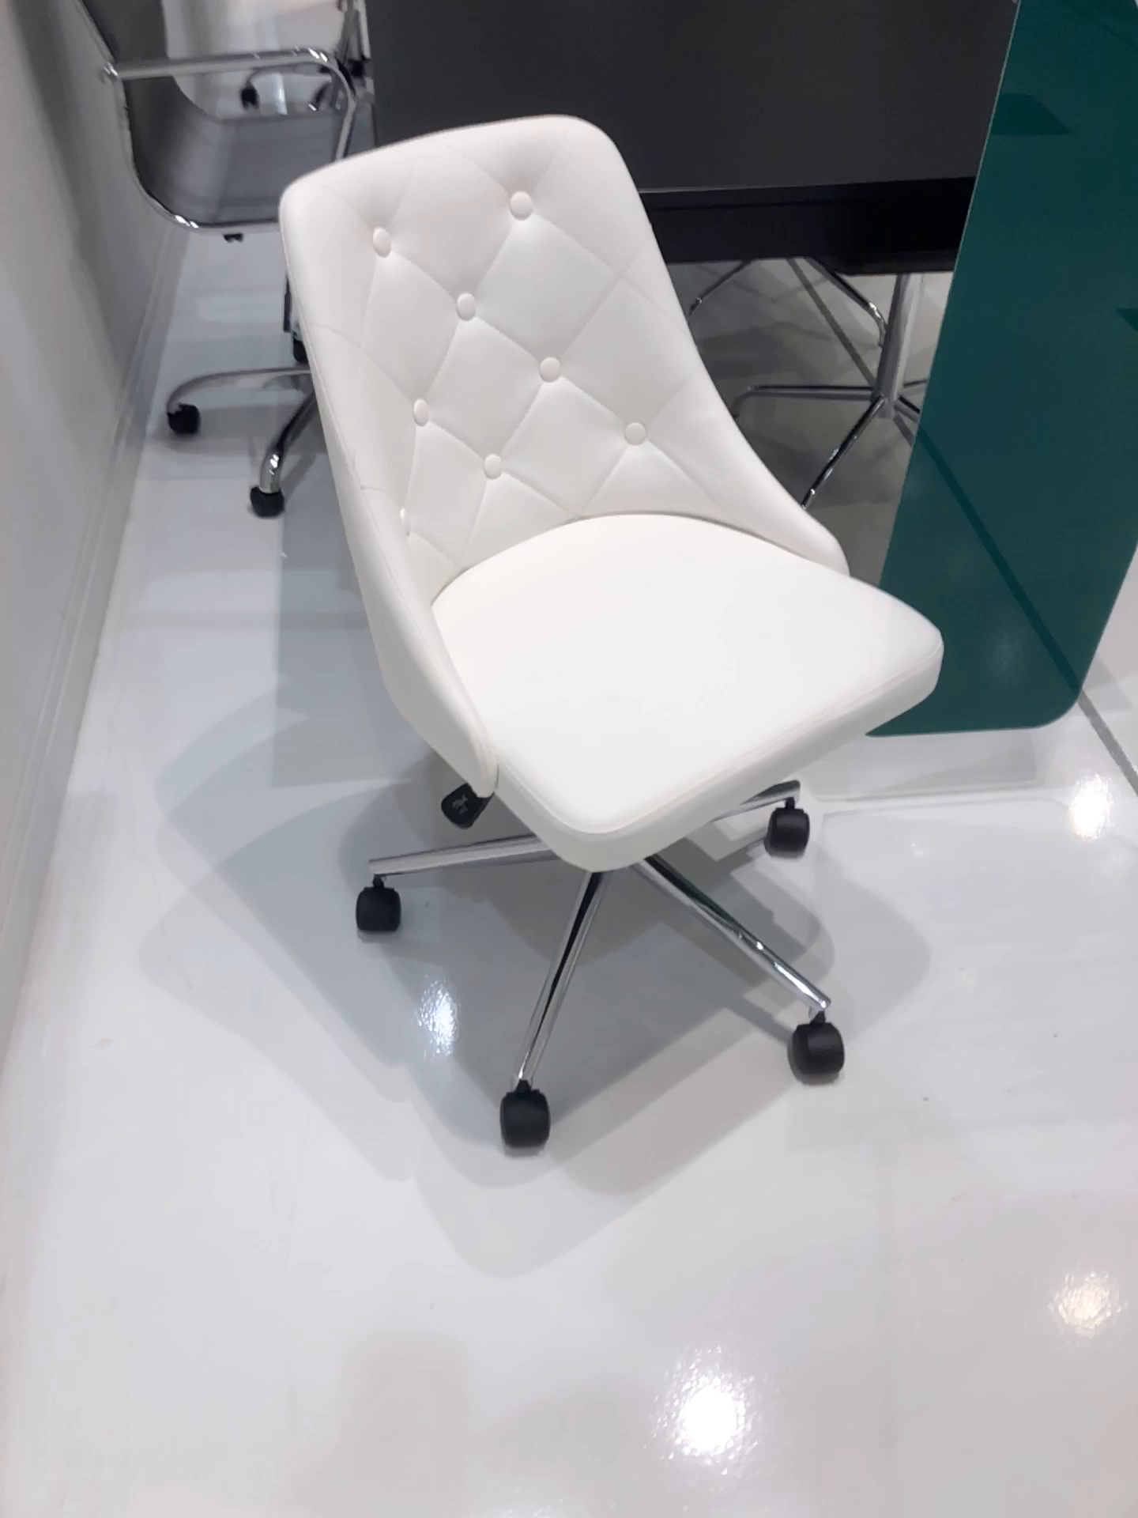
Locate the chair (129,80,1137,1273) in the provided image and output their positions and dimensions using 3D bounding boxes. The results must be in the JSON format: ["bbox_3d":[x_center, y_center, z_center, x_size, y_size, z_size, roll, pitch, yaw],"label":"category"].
[{"bbox_3d":[0.059,-0.099,1.274,0.602,0.854,0.643,-26,49,-26],"label":"chair"}]
